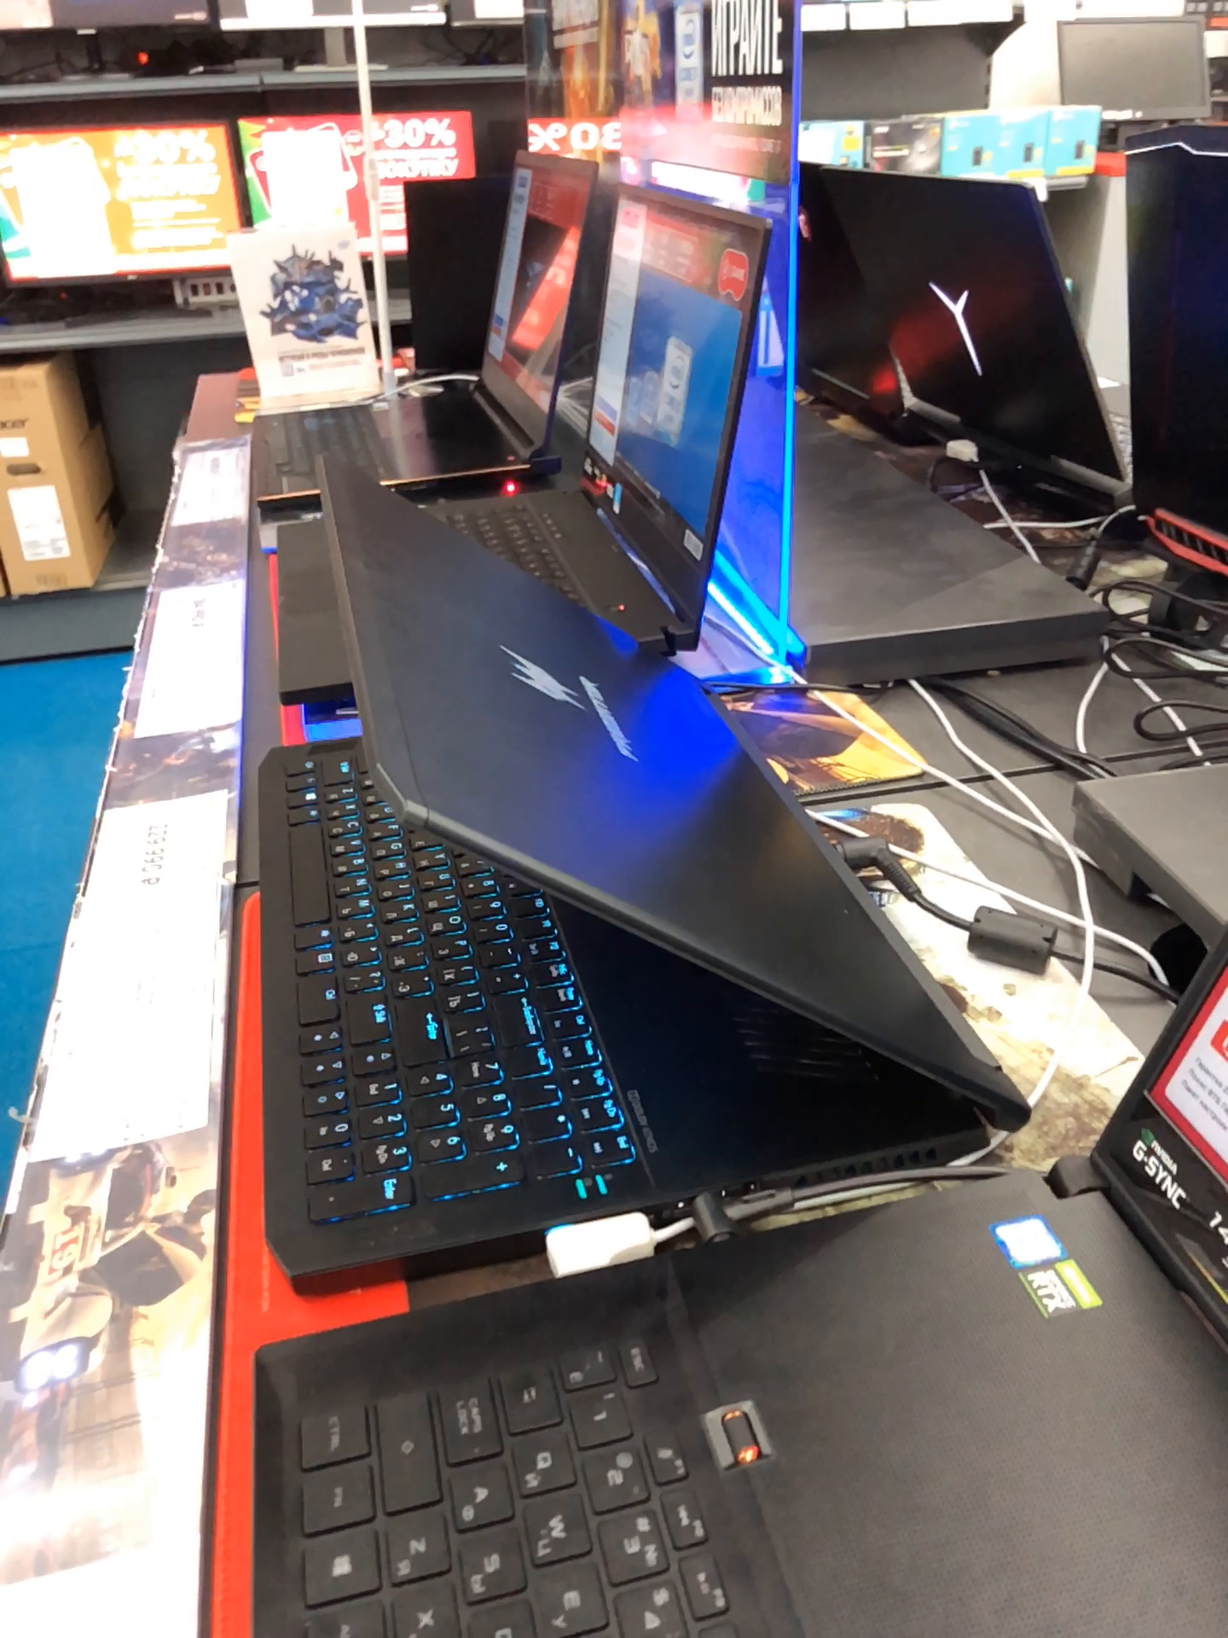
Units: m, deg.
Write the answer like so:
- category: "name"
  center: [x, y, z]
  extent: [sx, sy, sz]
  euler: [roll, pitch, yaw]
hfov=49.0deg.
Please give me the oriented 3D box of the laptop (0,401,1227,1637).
- category: "laptop"
  center: [0.106, 0.110, 0.208]
  extent: [0.363, 0.236, 0.373]
  euler: [-8, 29, -10]

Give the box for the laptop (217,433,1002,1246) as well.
- category: "laptop"
  center: [-0.034, -0.034, 0.573]
  extent: [0.226, 0.152, 0.372]
  euler: [-9, 29, -9]
